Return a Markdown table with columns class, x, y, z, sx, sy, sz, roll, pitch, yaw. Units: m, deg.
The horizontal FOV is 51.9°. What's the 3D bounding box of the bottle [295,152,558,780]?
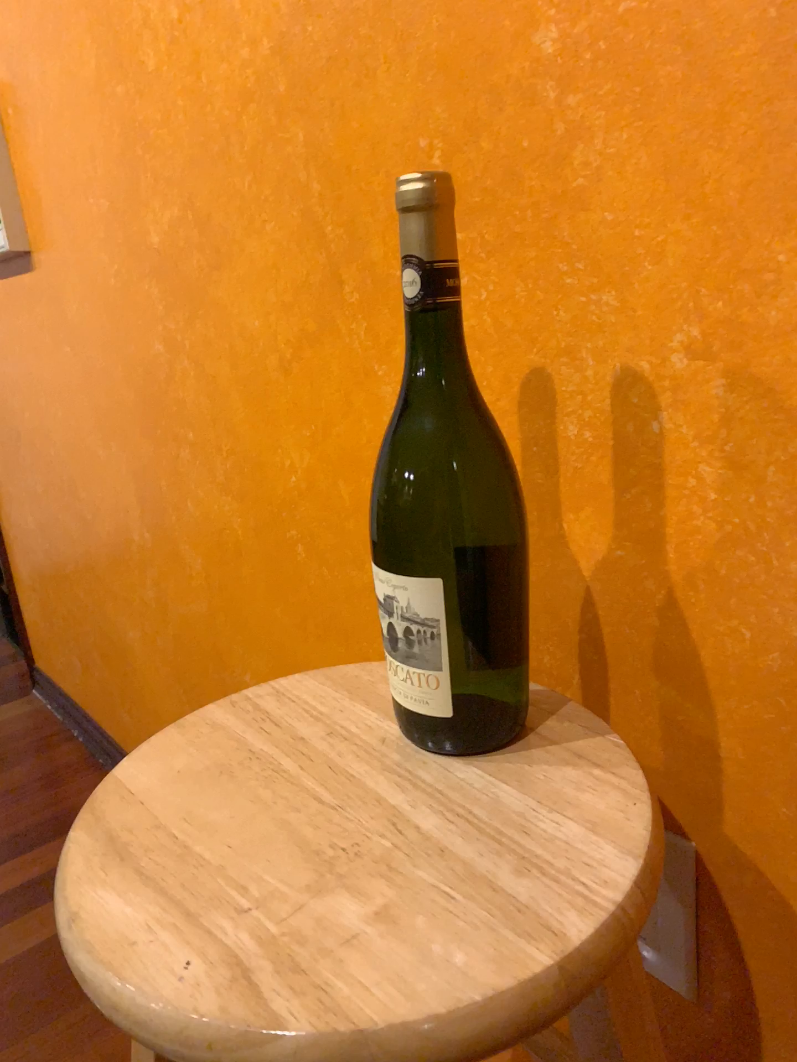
| class | x | y | z | sx | sy | sz | roll | pitch | yaw |
| --- | --- | --- | --- | --- | --- | --- | --- | --- | --- |
| bottle | 0.018 | -0.030 | 0.422 | 0.070 | 0.289 | 0.090 | -16 | 19 | -30 |
